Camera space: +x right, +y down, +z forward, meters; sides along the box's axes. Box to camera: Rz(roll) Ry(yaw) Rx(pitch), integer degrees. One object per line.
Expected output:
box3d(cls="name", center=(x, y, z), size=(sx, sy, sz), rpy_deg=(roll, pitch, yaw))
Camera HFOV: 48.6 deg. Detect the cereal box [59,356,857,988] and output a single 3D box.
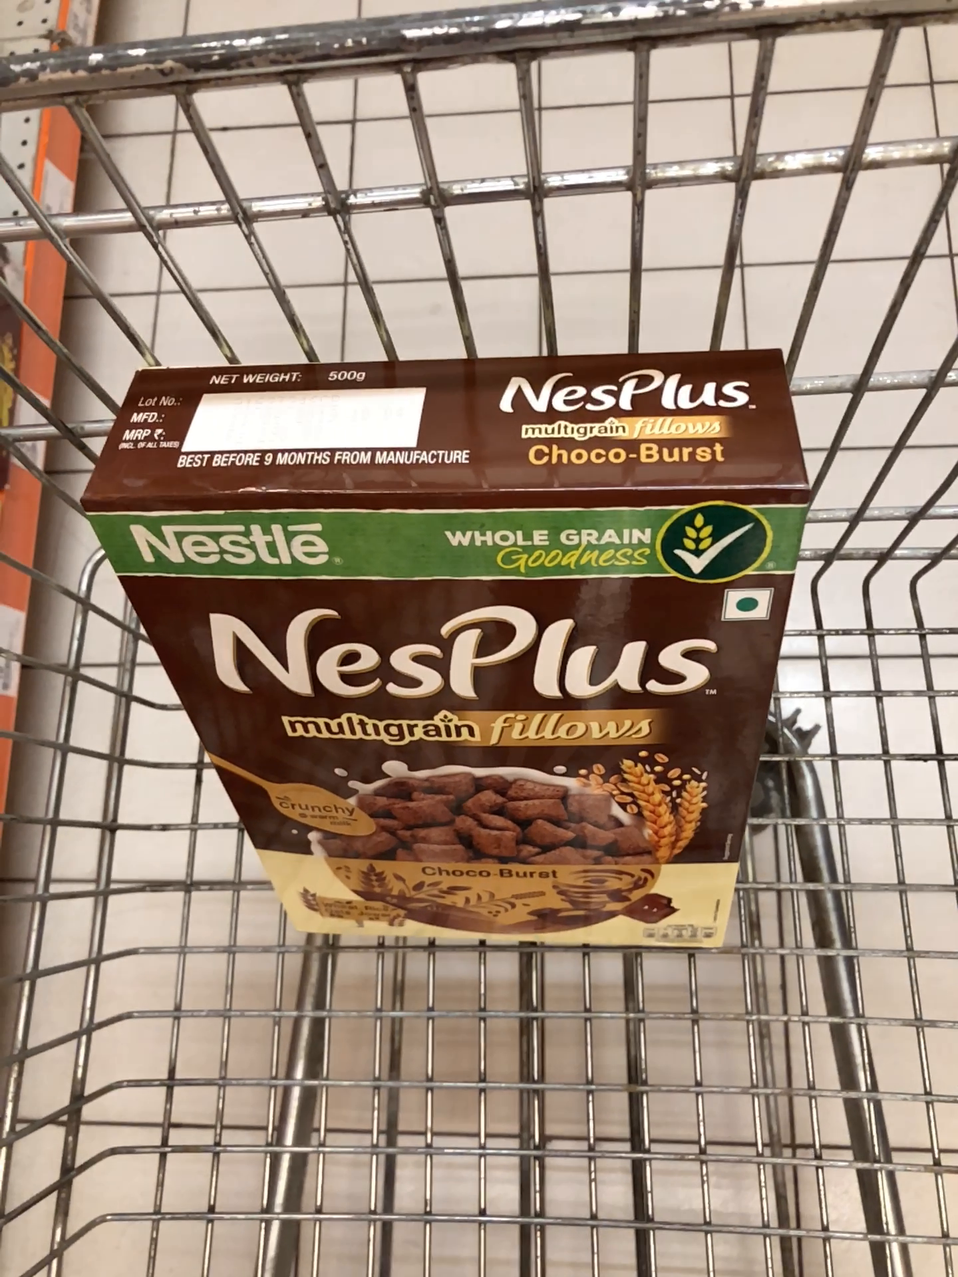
box3d(cls="cereal box", center=(0.005, 0.034, 0.367), size=(0.190, 0.259, 0.060), rpy_deg=(0, 49, 8))
